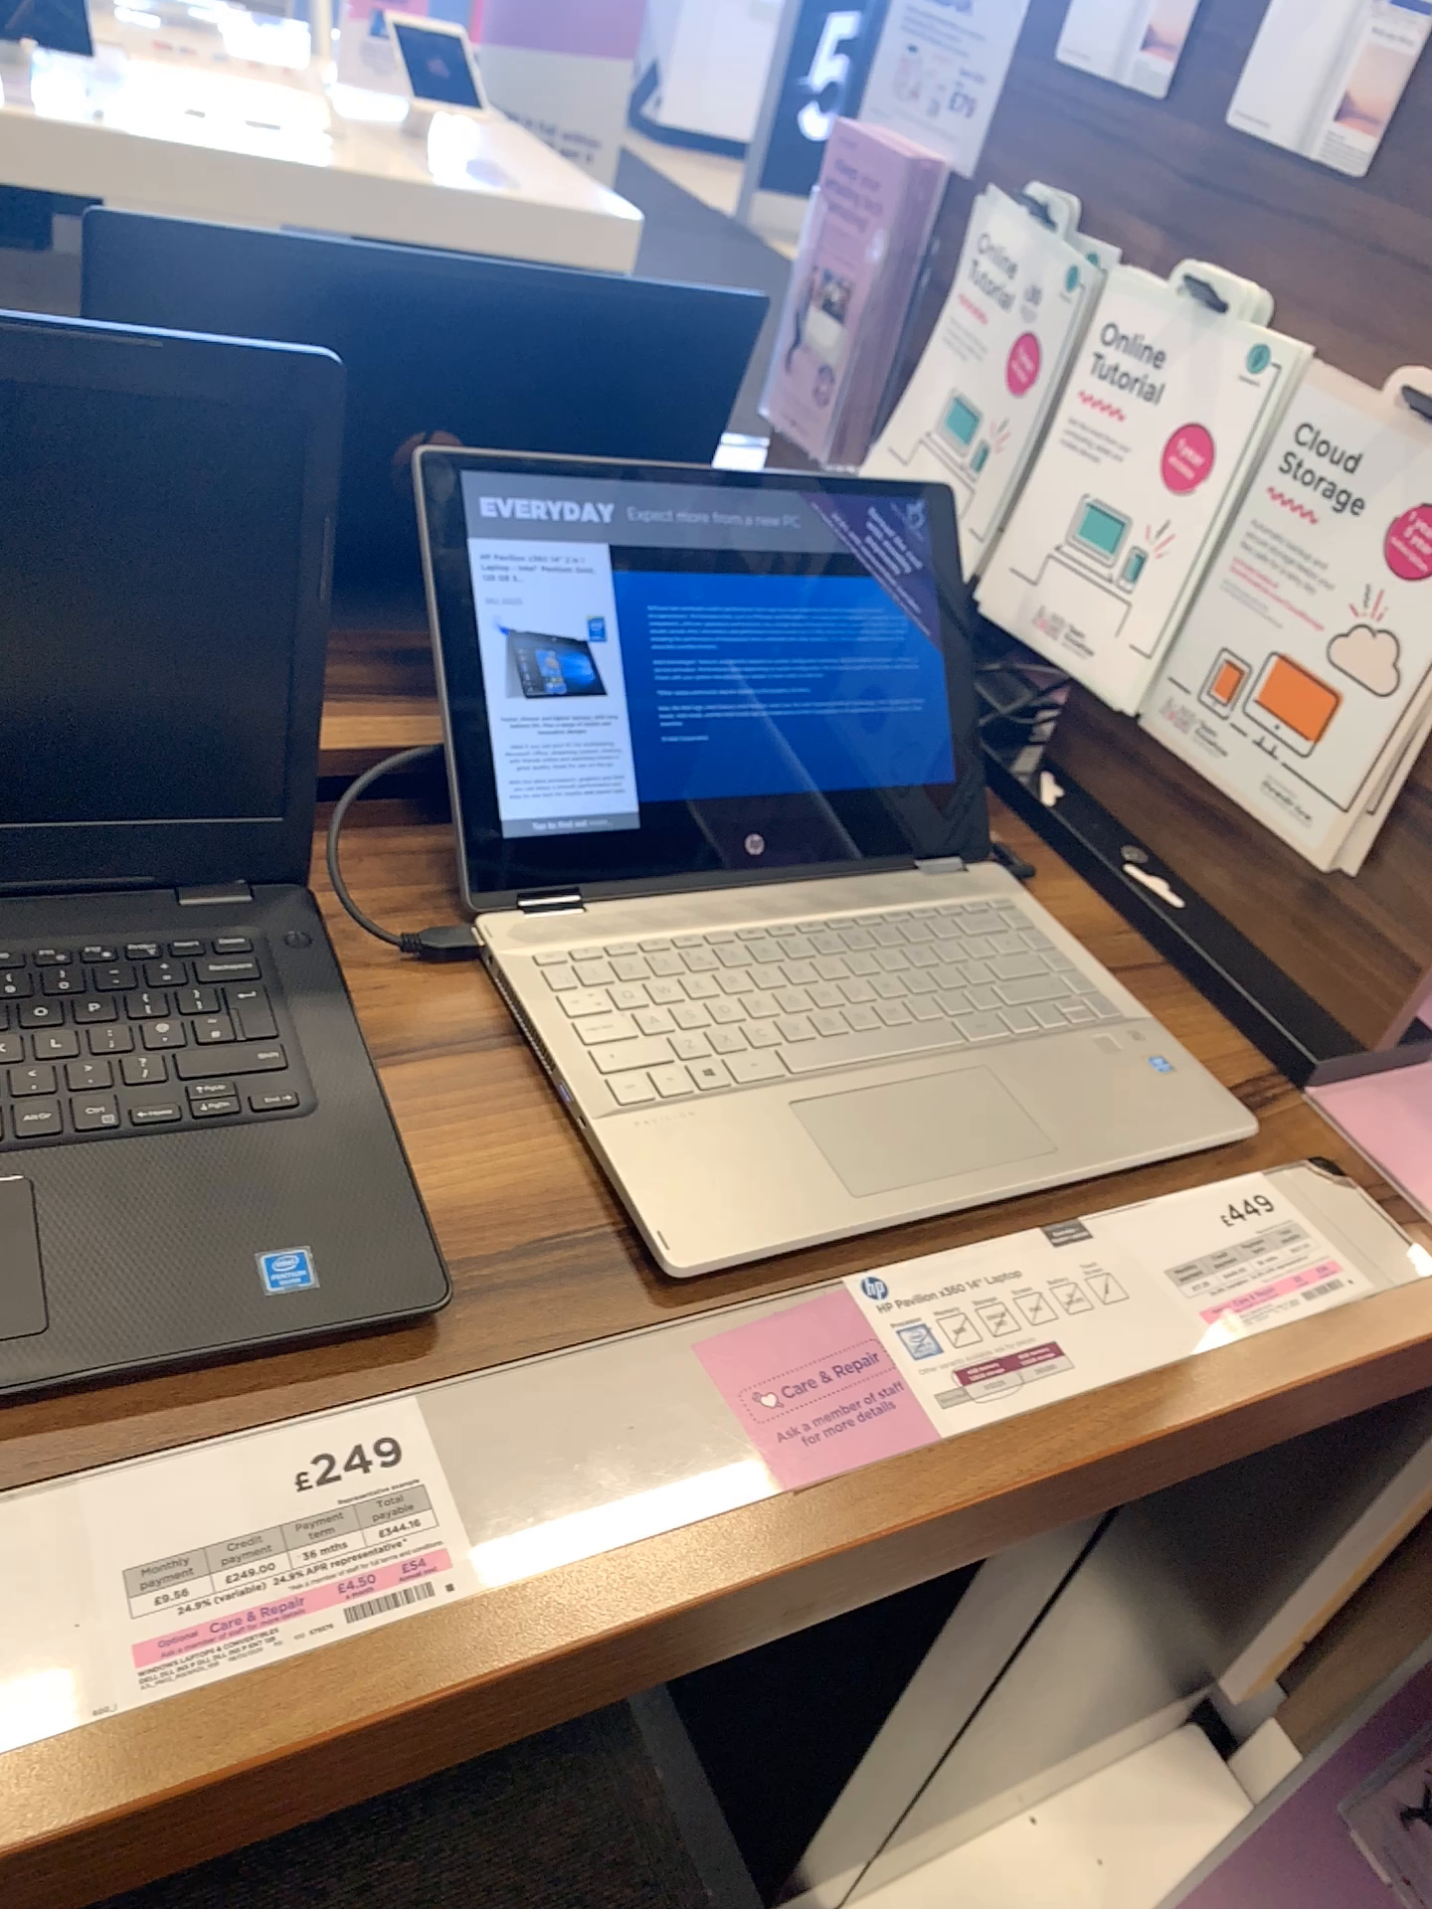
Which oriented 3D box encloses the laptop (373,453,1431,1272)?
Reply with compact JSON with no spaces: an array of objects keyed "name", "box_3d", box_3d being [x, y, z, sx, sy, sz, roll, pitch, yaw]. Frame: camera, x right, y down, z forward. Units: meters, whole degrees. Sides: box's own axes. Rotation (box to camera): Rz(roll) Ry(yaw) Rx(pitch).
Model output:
[{"name":"laptop","box_3d":[0.057,-0.075,0.686,0.313,0.154,0.362,-7,42,-30]}]
